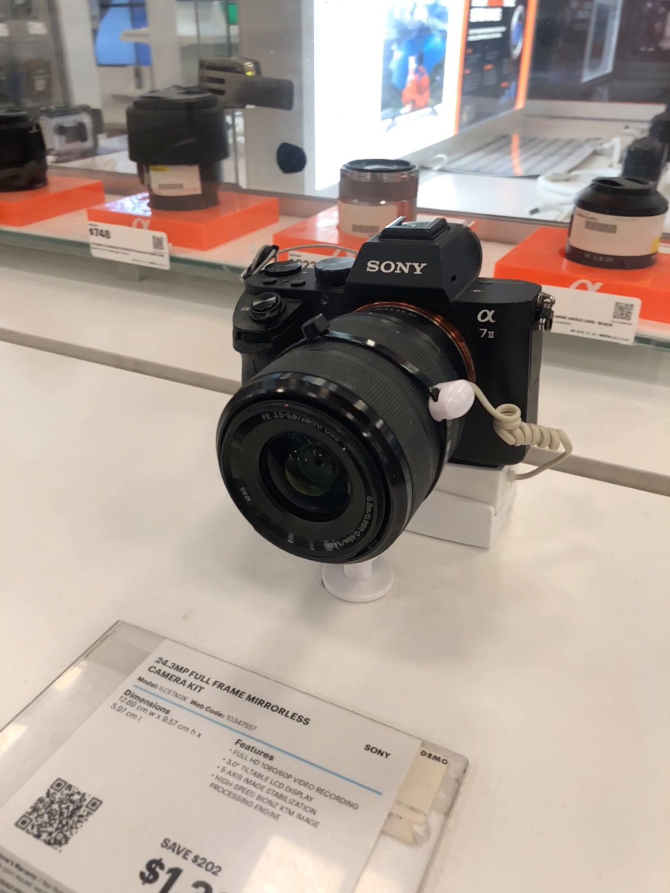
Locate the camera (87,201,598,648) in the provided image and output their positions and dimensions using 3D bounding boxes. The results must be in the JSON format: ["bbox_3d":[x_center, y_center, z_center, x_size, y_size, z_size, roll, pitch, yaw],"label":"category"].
[{"bbox_3d":[0.015,-0.027,0.300,0.140,0.100,0.151,12,32,21],"label":"camera"}]
